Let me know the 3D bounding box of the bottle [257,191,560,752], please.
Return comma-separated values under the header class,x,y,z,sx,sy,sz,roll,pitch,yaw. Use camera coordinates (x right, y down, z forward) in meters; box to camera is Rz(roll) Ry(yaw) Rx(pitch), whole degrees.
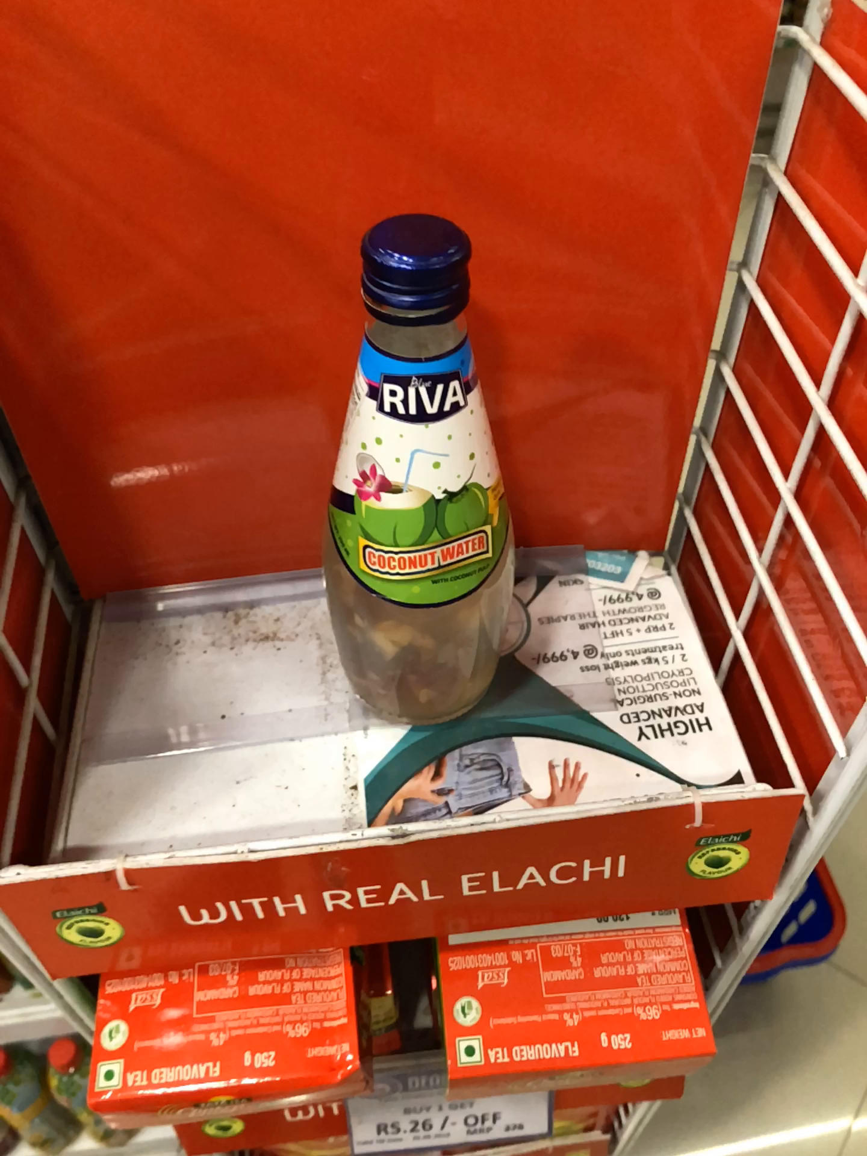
class,x,y,z,sx,sy,sz,roll,pitch,yaw
bottle,-0.007,-0.022,0.313,0.070,0.179,0.060,-7,48,-5
